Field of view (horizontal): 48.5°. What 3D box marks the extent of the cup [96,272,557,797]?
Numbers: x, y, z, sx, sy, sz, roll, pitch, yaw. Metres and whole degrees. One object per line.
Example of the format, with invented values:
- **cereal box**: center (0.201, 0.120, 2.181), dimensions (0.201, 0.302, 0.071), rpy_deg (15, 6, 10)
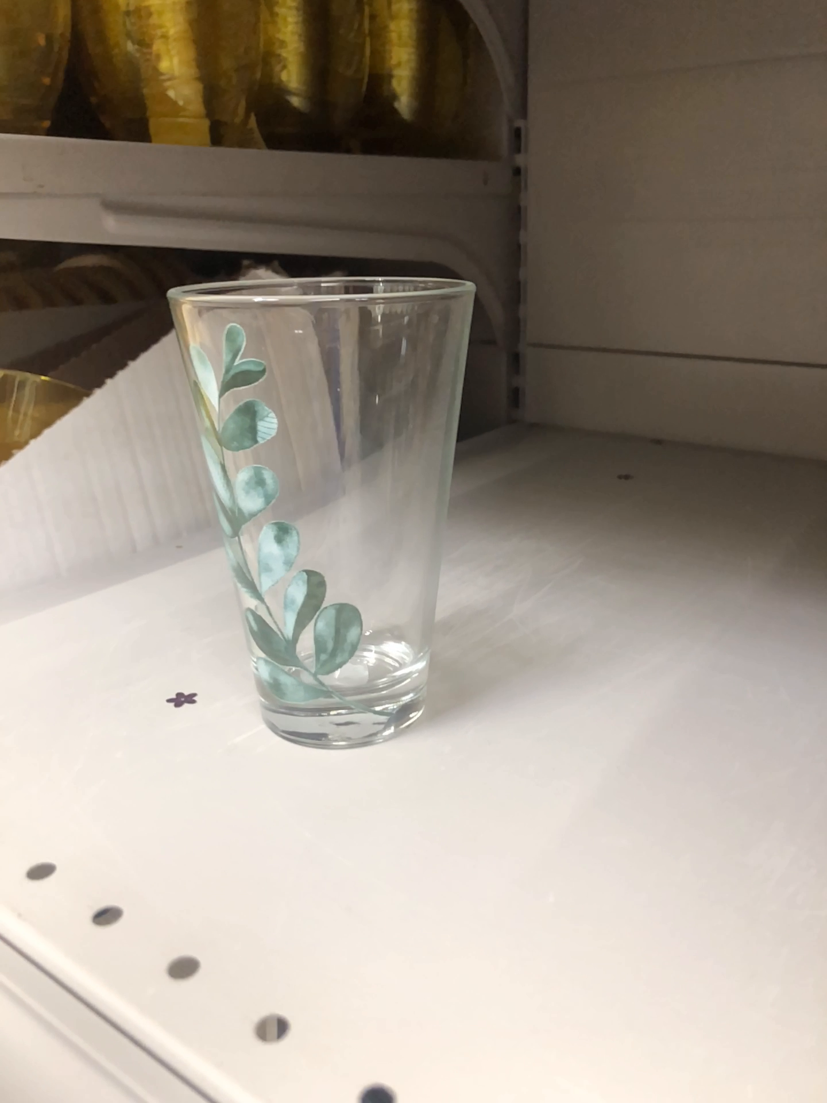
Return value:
- **cup**: center (-0.021, -0.016, 0.252), dimensions (0.083, 0.114, 0.084), rpy_deg (0, 18, 0)
